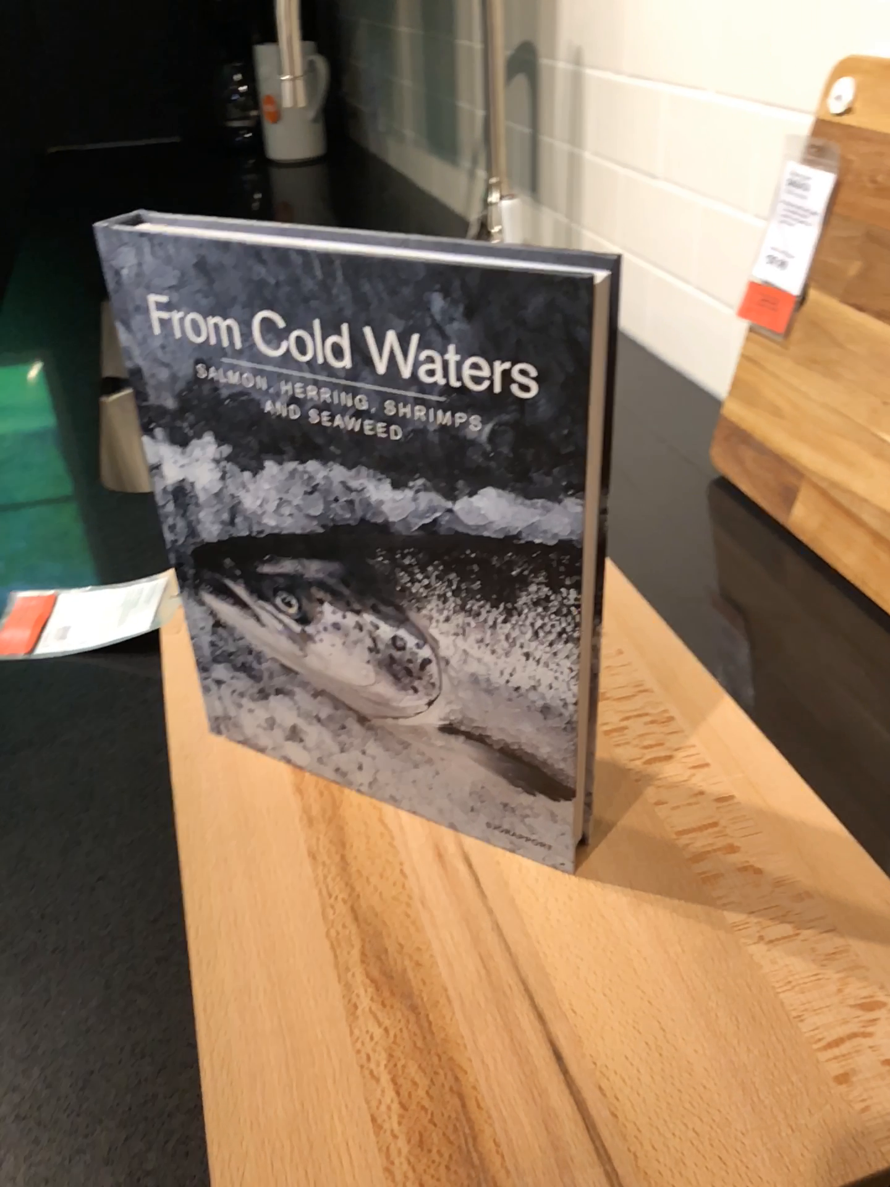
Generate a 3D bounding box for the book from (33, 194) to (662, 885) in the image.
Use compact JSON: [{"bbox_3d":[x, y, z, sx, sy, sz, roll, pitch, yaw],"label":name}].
[{"bbox_3d":[-0.037,-0.020,0.359,0.213,0.219,0.029,15,36,26],"label":"book"}]
